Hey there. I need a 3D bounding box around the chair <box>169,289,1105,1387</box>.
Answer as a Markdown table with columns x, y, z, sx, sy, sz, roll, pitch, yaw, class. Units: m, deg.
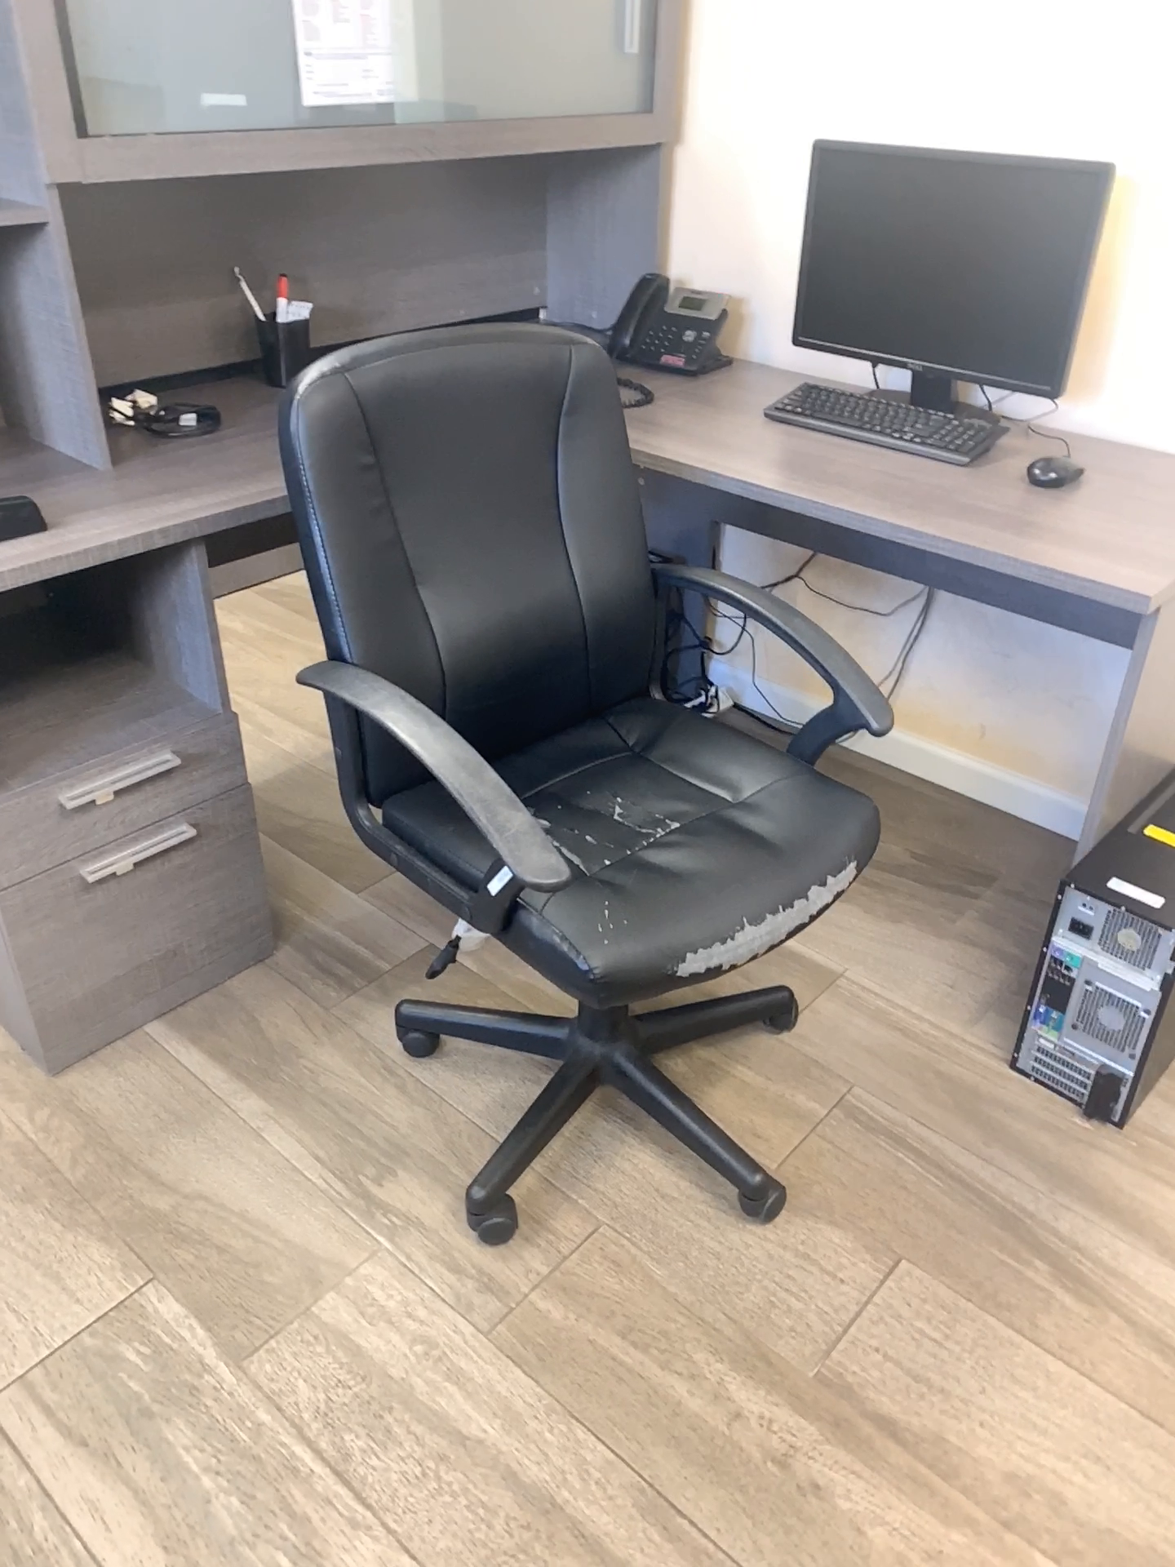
| x | y | z | sx | sy | sz | roll | pitch | yaw | class |
| --- | --- | --- | --- | --- | --- | --- | --- | --- | --- |
| 0.035 | 0.002 | 1.410 | 0.652 | 0.944 | 0.642 | -25 | 41 | -35 | chair |
